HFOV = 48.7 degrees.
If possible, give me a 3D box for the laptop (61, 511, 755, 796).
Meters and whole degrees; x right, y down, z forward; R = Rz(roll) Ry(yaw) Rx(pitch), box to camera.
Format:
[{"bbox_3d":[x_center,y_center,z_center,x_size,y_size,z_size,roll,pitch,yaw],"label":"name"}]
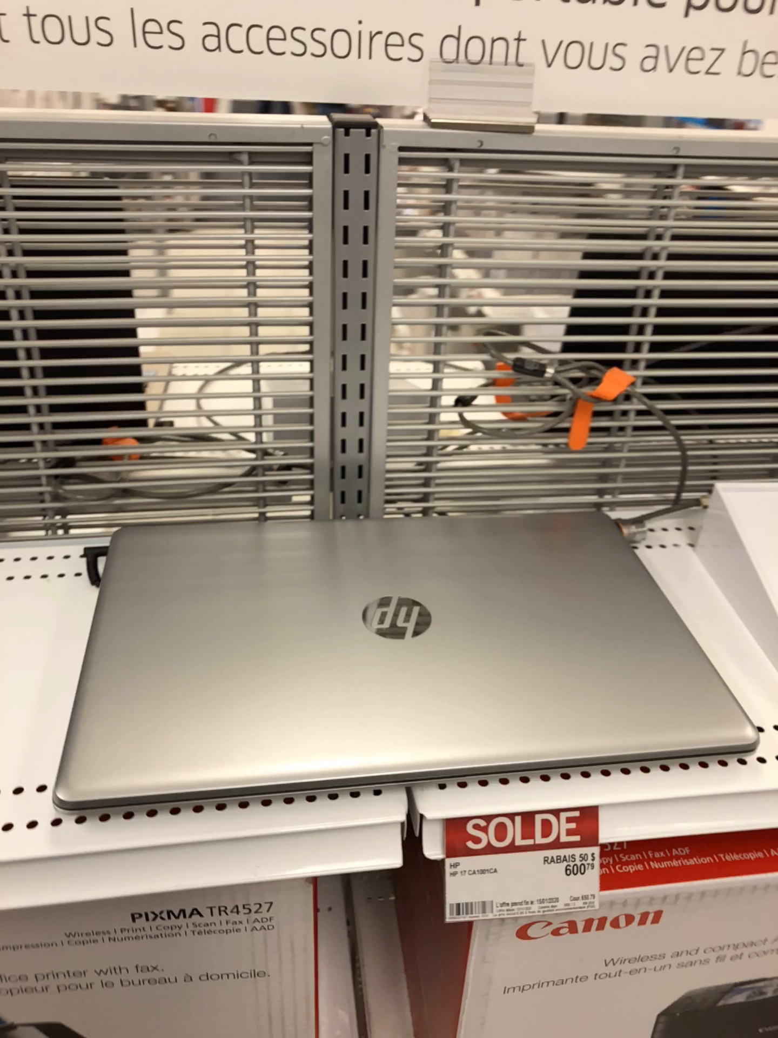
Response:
[{"bbox_3d":[0.003,0.074,0.626,0.416,0.002,0.278,-2,31,-8],"label":"laptop"}]
